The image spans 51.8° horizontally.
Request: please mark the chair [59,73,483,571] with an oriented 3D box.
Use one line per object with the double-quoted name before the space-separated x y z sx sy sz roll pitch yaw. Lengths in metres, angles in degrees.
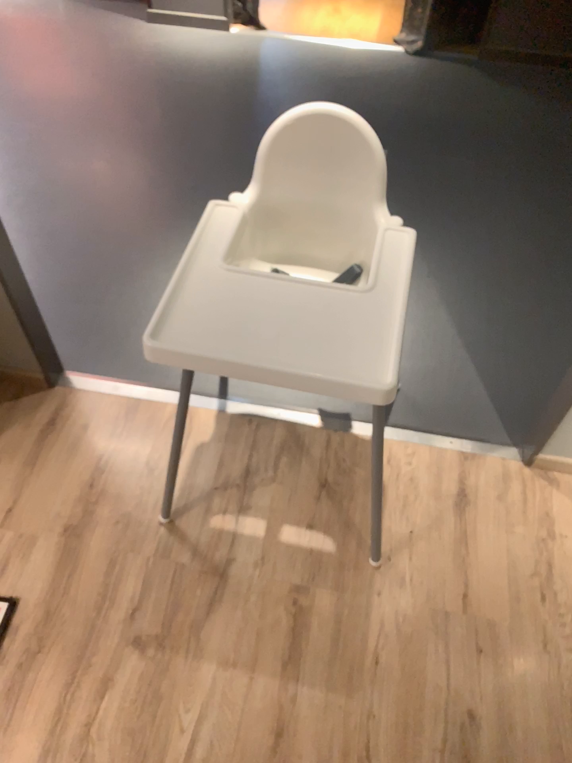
"chair" 0.017 -0.088 1.279 0.570 0.798 0.622 9 52 5
